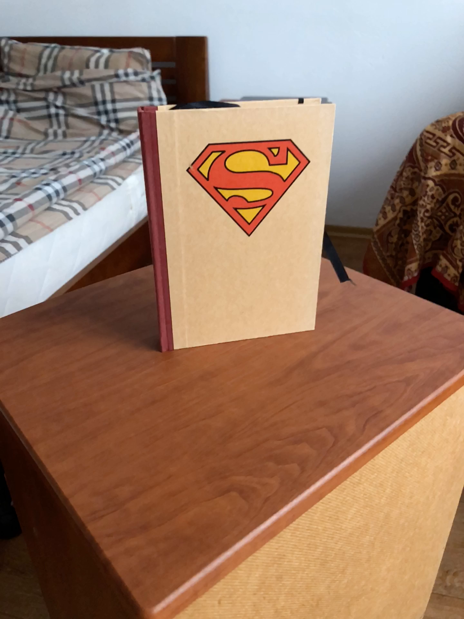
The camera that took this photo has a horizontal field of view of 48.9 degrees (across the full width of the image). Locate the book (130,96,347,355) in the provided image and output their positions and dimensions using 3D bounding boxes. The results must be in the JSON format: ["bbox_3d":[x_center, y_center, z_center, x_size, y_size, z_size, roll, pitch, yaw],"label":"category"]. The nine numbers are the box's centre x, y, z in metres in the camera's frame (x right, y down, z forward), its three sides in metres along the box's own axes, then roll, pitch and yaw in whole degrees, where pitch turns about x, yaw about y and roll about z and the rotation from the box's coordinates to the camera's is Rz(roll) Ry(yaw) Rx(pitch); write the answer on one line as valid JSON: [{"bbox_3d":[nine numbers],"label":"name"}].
[{"bbox_3d":[0.006,-0.069,0.441,0.162,0.203,0.041,-8,30,-12],"label":"book"}]
